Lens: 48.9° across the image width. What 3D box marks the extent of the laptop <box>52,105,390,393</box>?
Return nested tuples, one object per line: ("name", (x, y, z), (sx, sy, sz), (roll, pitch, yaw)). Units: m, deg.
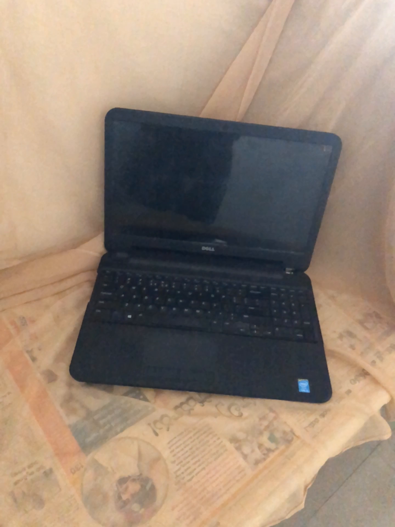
("laptop", (0.022, -0.030, 0.628), (0.348, 0.225, 0.307), (6, 43, -2))
